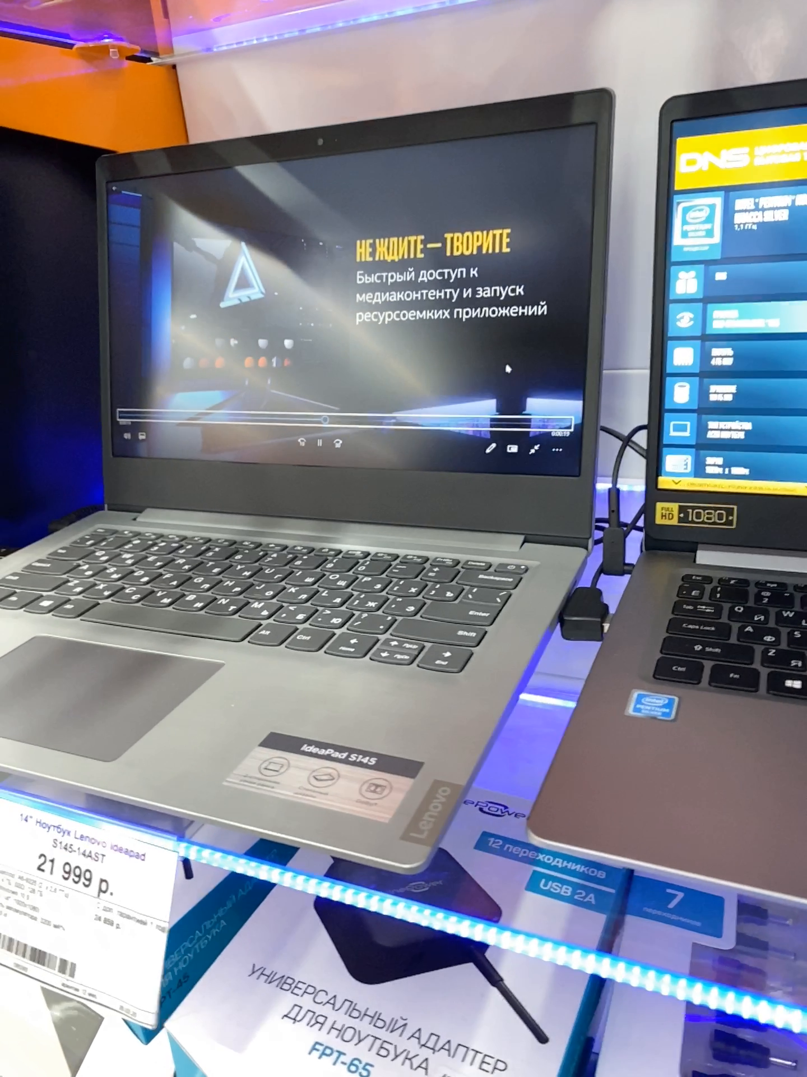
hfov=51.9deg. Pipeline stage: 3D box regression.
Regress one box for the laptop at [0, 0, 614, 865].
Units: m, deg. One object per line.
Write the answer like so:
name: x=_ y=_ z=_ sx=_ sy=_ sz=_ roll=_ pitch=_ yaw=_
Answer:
laptop: x=-0.095 y=-0.077 z=0.382 sx=0.327 sy=0.215 sz=0.303 roll=4 pitch=23 yaw=23
